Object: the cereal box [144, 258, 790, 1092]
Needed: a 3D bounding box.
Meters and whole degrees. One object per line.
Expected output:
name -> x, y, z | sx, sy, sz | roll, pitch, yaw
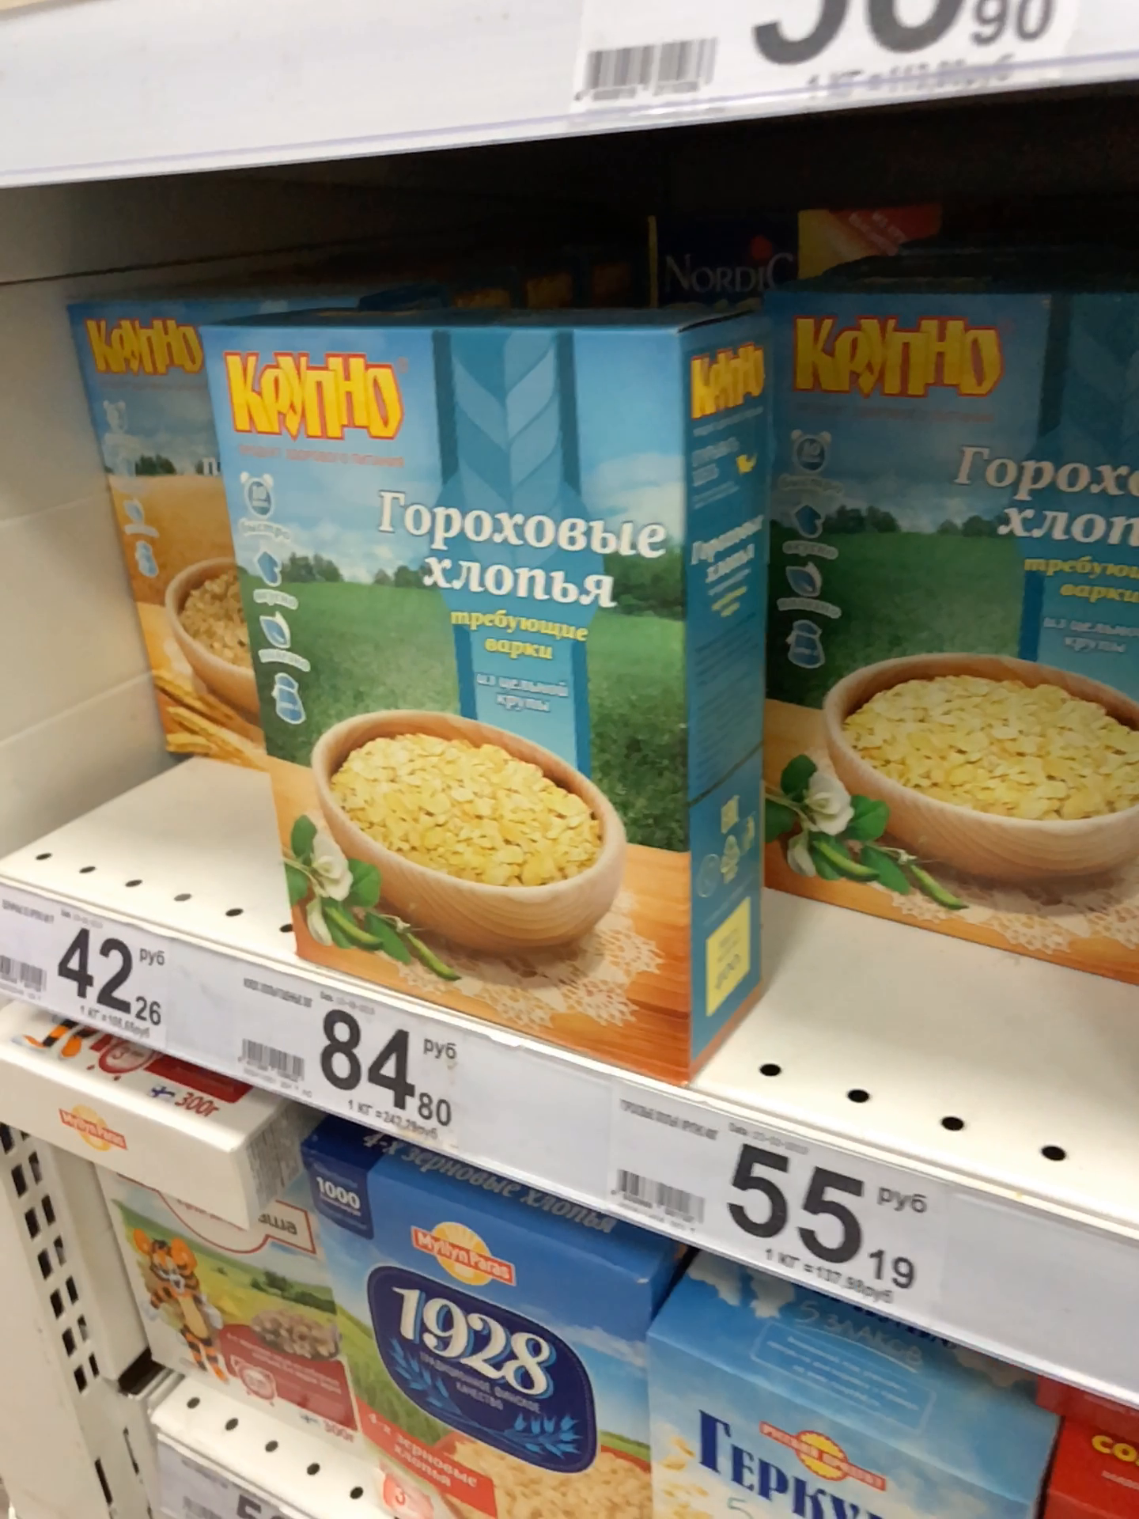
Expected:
cereal box -> -0.026, -0.028, 0.349 | 0.160, 0.199, 0.050 | 11, 27, 30
